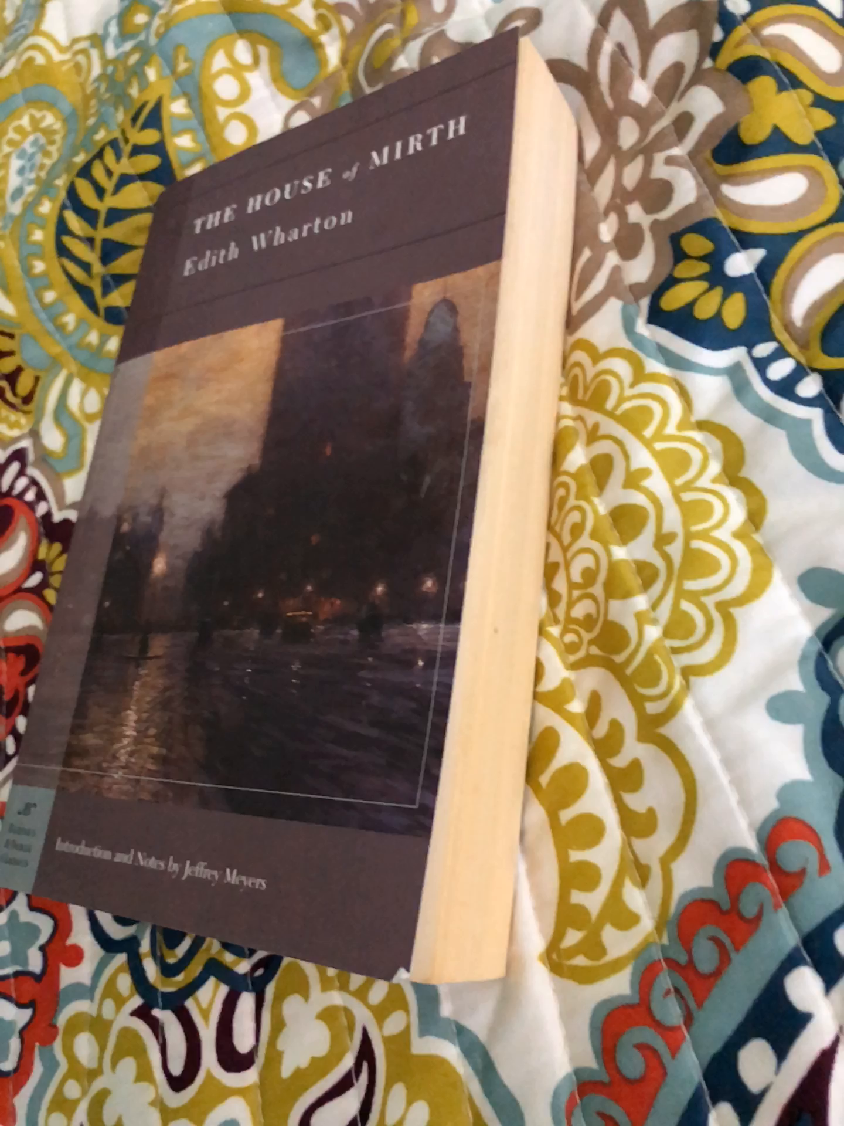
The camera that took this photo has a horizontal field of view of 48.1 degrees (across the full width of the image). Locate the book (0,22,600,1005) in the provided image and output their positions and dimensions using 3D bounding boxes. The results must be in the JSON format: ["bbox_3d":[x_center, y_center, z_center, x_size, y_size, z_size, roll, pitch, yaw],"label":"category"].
[{"bbox_3d":[-0.036,-0.013,0.238,0.142,0.040,0.195,-3,75,37],"label":"book"}]
